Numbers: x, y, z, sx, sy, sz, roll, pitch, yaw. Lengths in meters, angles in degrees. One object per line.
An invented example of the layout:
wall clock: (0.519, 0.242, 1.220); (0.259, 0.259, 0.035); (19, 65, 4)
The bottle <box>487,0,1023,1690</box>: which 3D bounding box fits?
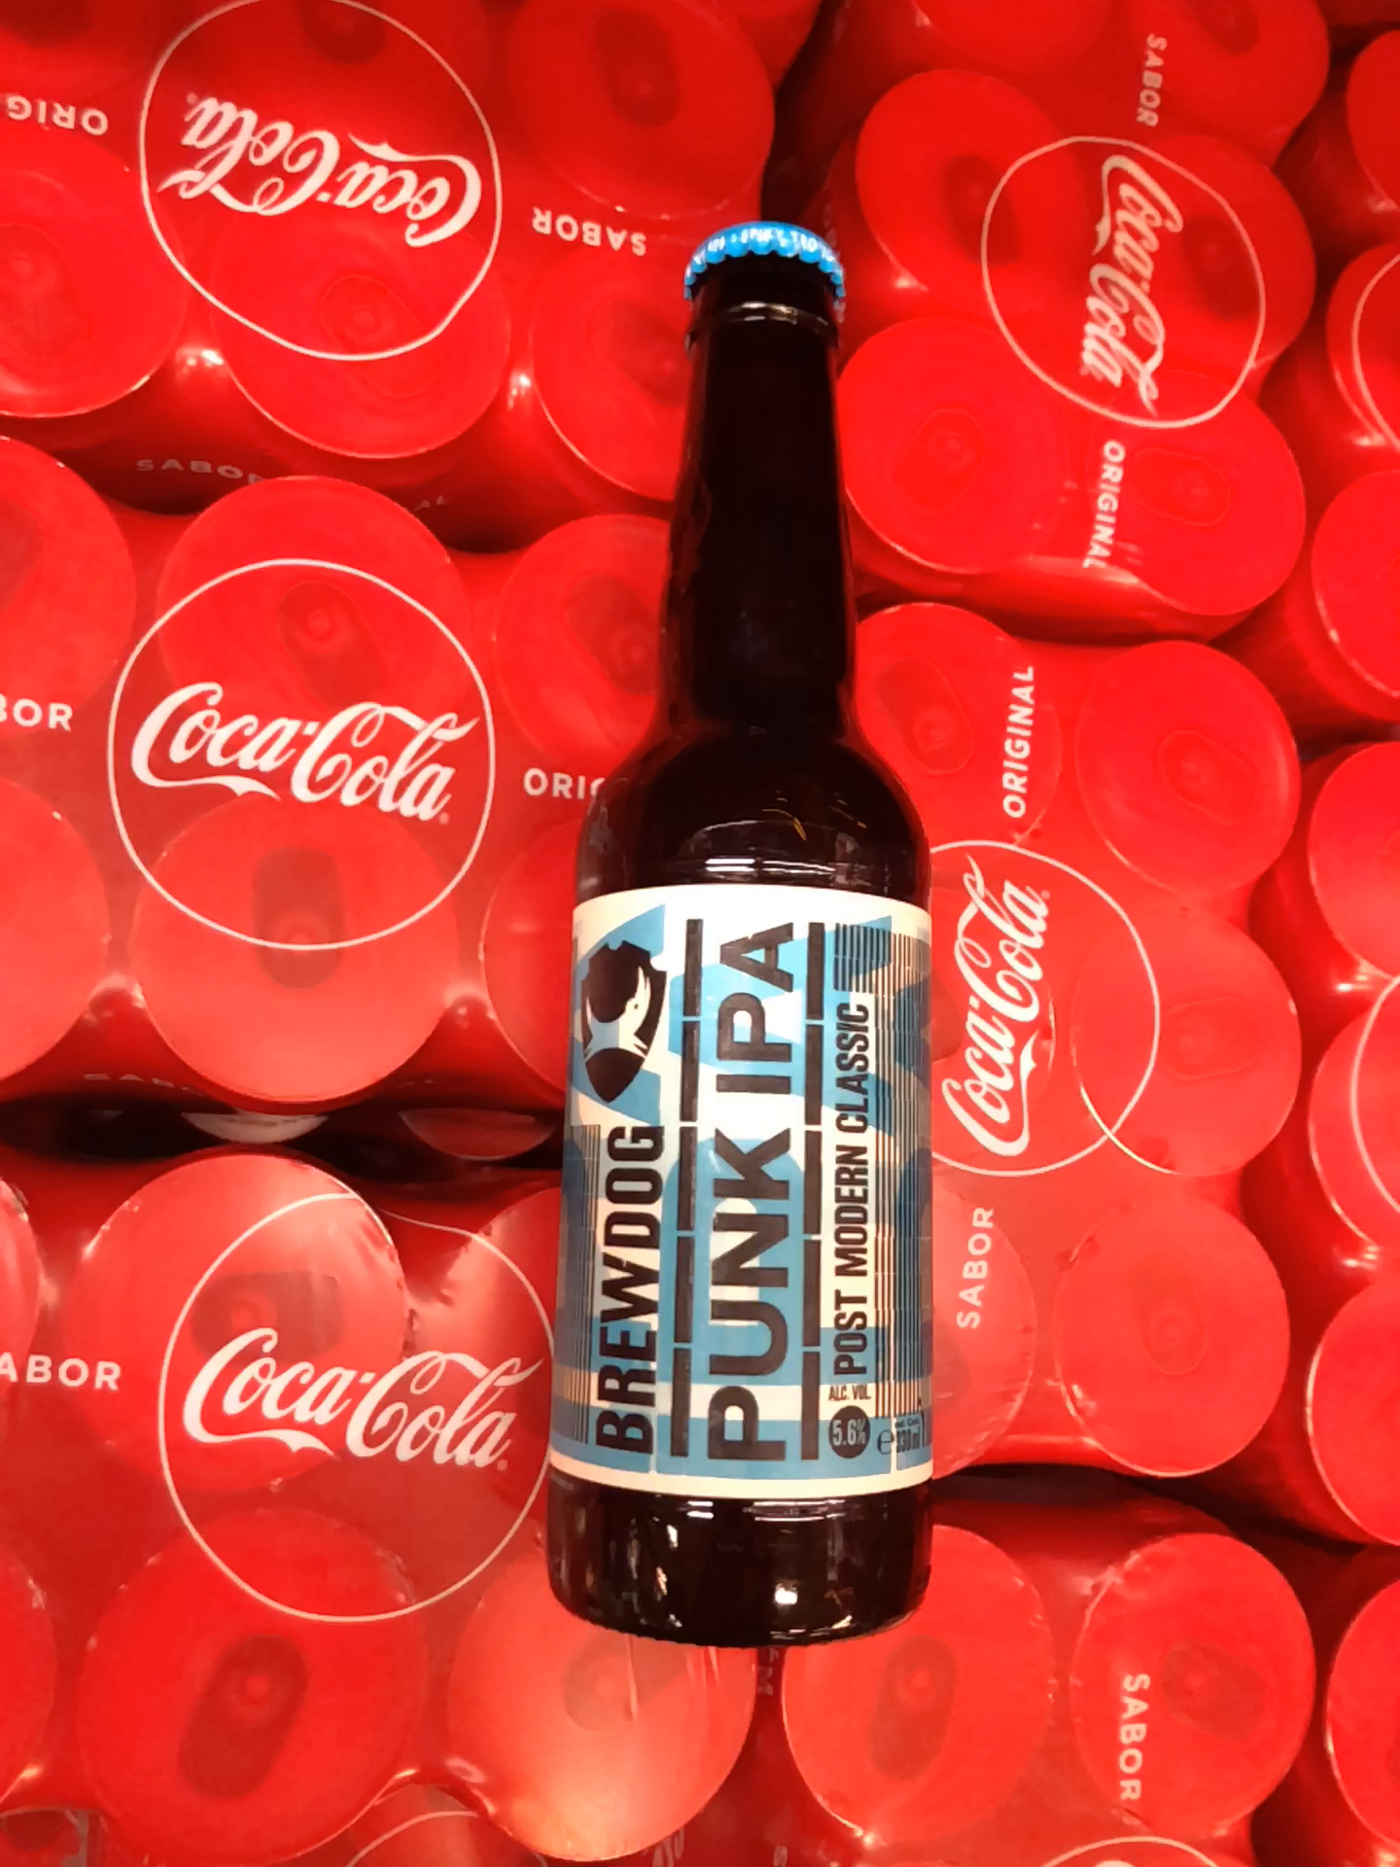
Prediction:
bottle: (0.007, -0.019, 0.238); (0.060, 0.060, 0.230); (4, 81, -16)
